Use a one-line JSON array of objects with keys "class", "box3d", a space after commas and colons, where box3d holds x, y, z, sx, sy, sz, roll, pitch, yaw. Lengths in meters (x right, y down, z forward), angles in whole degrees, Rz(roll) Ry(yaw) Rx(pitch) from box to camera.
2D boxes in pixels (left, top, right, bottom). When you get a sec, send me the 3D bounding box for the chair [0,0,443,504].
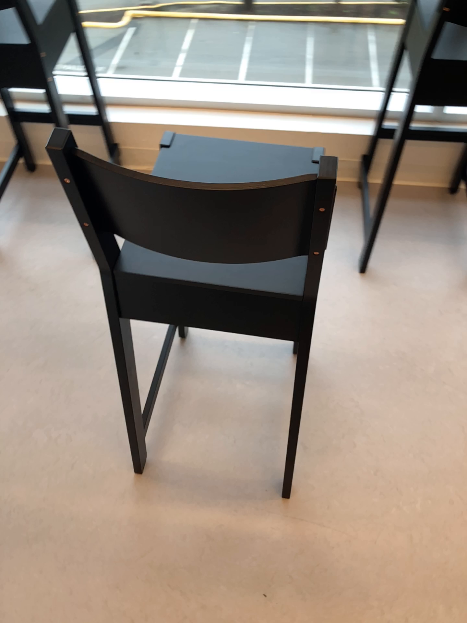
[{"class": "chair", "box3d": [-0.020, -0.077, 1.095, 0.550, 0.995, 0.583, 8, 54, 6]}]
